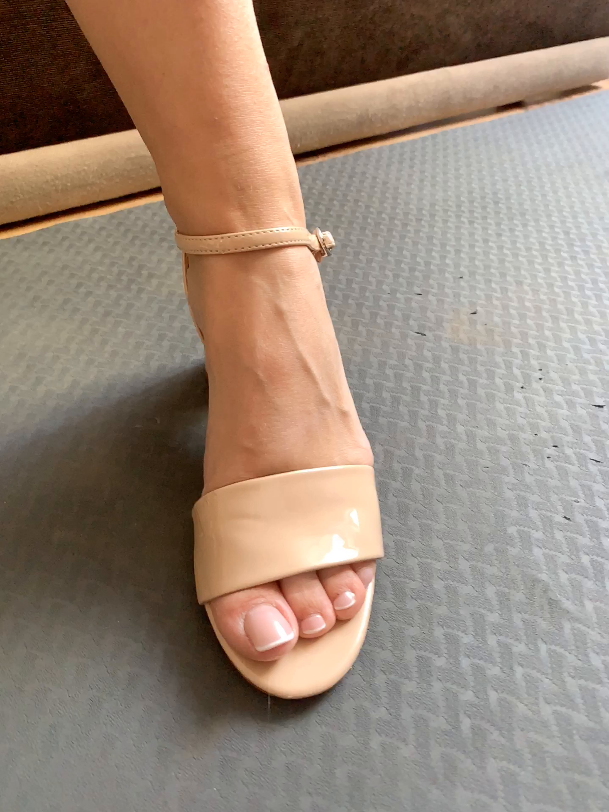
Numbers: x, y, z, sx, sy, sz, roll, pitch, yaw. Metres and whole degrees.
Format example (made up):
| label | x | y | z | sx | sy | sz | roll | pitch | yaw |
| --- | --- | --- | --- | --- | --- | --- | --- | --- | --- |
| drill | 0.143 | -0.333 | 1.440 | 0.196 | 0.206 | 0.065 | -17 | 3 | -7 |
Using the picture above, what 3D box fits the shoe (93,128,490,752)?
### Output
| label | x | y | z | sx | sy | sz | roll | pitch | yaw |
| --- | --- | --- | --- | --- | --- | --- | --- | --- | --- |
| shoe | -0.027 | -0.016 | 0.272 | 0.090 | 0.119 | 0.251 | -8 | 41 | -9 |
